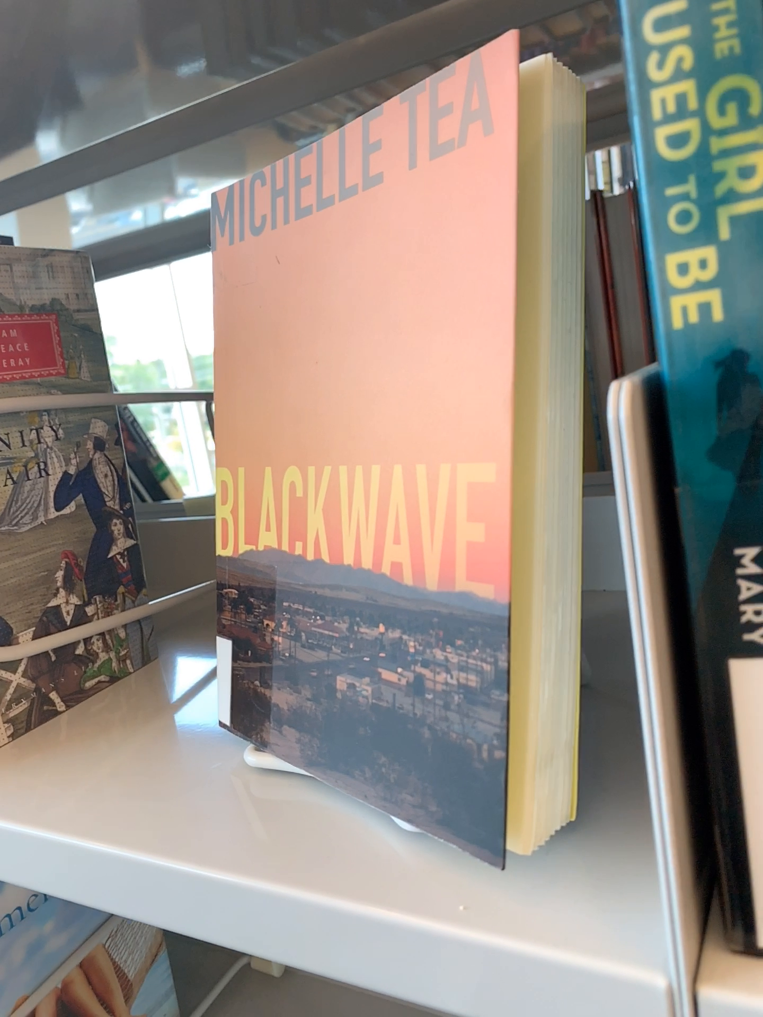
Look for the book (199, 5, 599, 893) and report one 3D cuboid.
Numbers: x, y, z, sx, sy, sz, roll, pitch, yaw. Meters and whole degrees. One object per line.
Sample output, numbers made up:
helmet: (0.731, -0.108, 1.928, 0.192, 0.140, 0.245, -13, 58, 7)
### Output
book: (-0.005, -0.015, 0.247, 0.036, 0.201, 0.147, -2, 3, -39)
